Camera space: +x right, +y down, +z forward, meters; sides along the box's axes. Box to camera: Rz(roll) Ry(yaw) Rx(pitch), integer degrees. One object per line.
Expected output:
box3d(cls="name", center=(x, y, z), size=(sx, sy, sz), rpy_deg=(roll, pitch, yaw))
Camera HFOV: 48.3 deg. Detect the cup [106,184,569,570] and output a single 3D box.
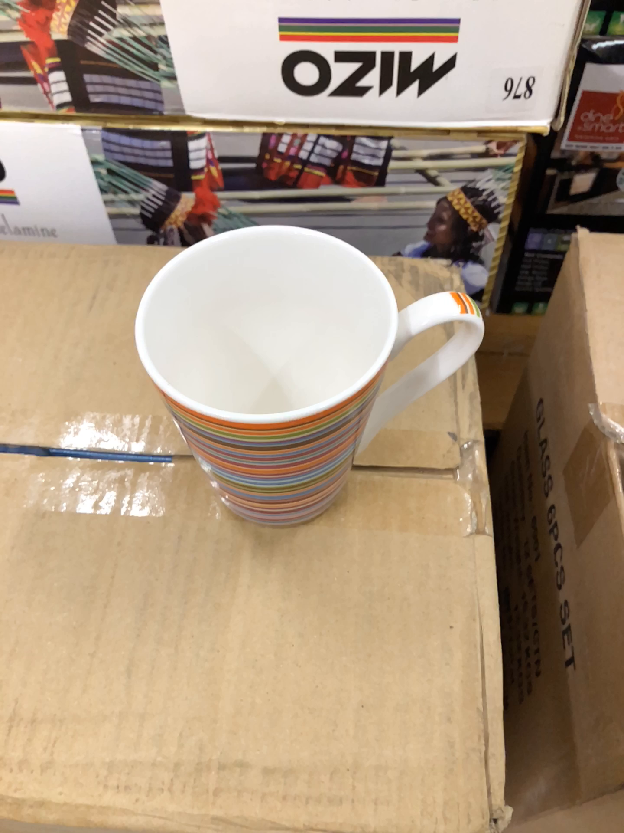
box3d(cls="cup", center=(0.004, -0.013, 0.256), size=(0.130, 0.089, 0.080), rpy_deg=(-12, 55, -7))
